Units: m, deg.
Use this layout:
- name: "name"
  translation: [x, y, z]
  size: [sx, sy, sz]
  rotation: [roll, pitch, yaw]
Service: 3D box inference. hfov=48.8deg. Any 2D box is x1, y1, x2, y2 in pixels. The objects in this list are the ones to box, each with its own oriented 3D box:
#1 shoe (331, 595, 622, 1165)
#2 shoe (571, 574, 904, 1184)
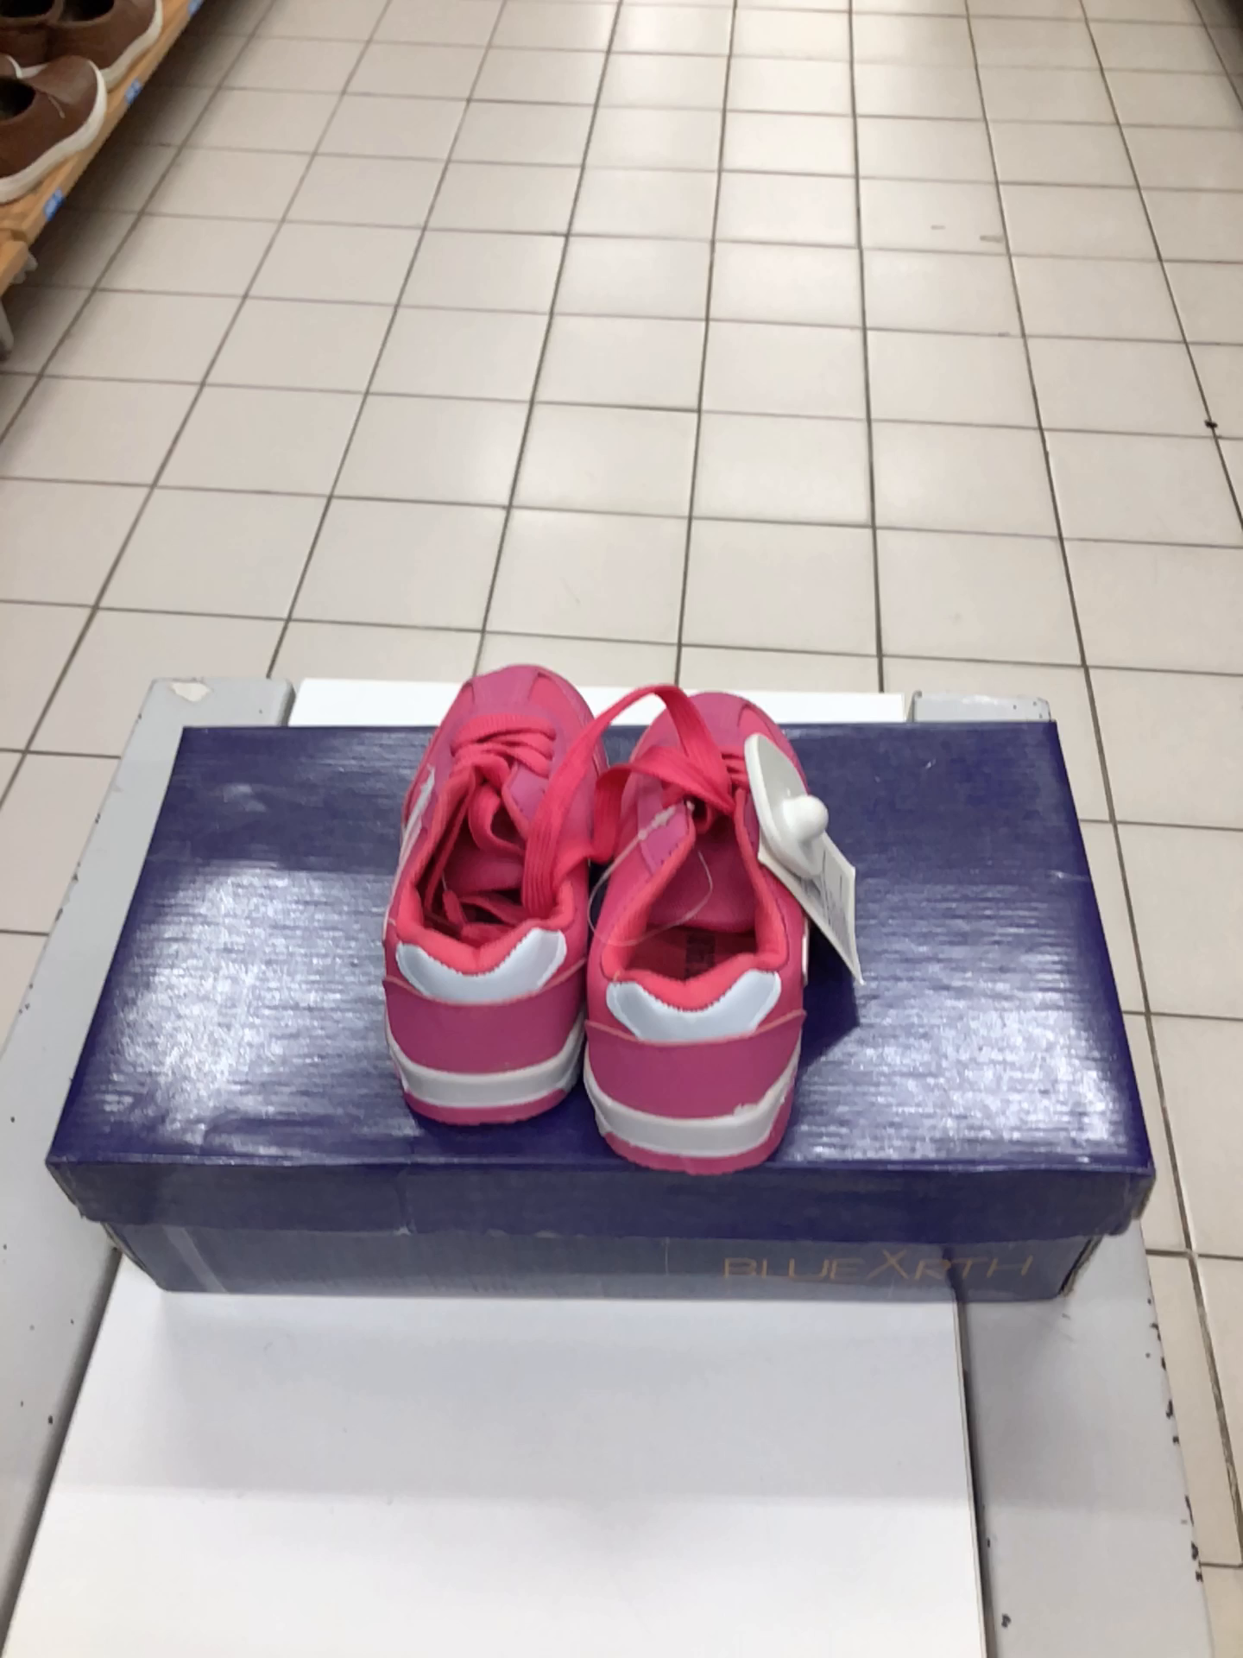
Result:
- name: "shoe"
  translation: [-0.038, 0.013, 0.444]
  size: [0.070, 0.090, 0.161]
  rotation: [2, 51, 1]
- name: "shoe"
  translation: [0.031, 0.011, 0.416]
  size: [0.080, 0.090, 0.161]
  rotation: [2, 51, 1]
